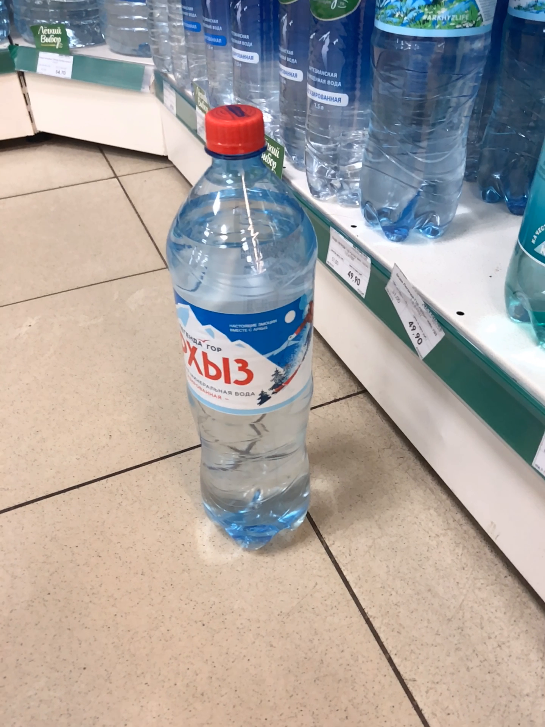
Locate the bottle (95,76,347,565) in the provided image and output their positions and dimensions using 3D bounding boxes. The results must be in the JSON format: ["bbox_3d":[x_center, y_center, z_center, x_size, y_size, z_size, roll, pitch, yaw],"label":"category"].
[{"bbox_3d":[-0.022,-0.008,0.396,0.085,0.305,0.094,-1,40,1],"label":"bottle"}]
